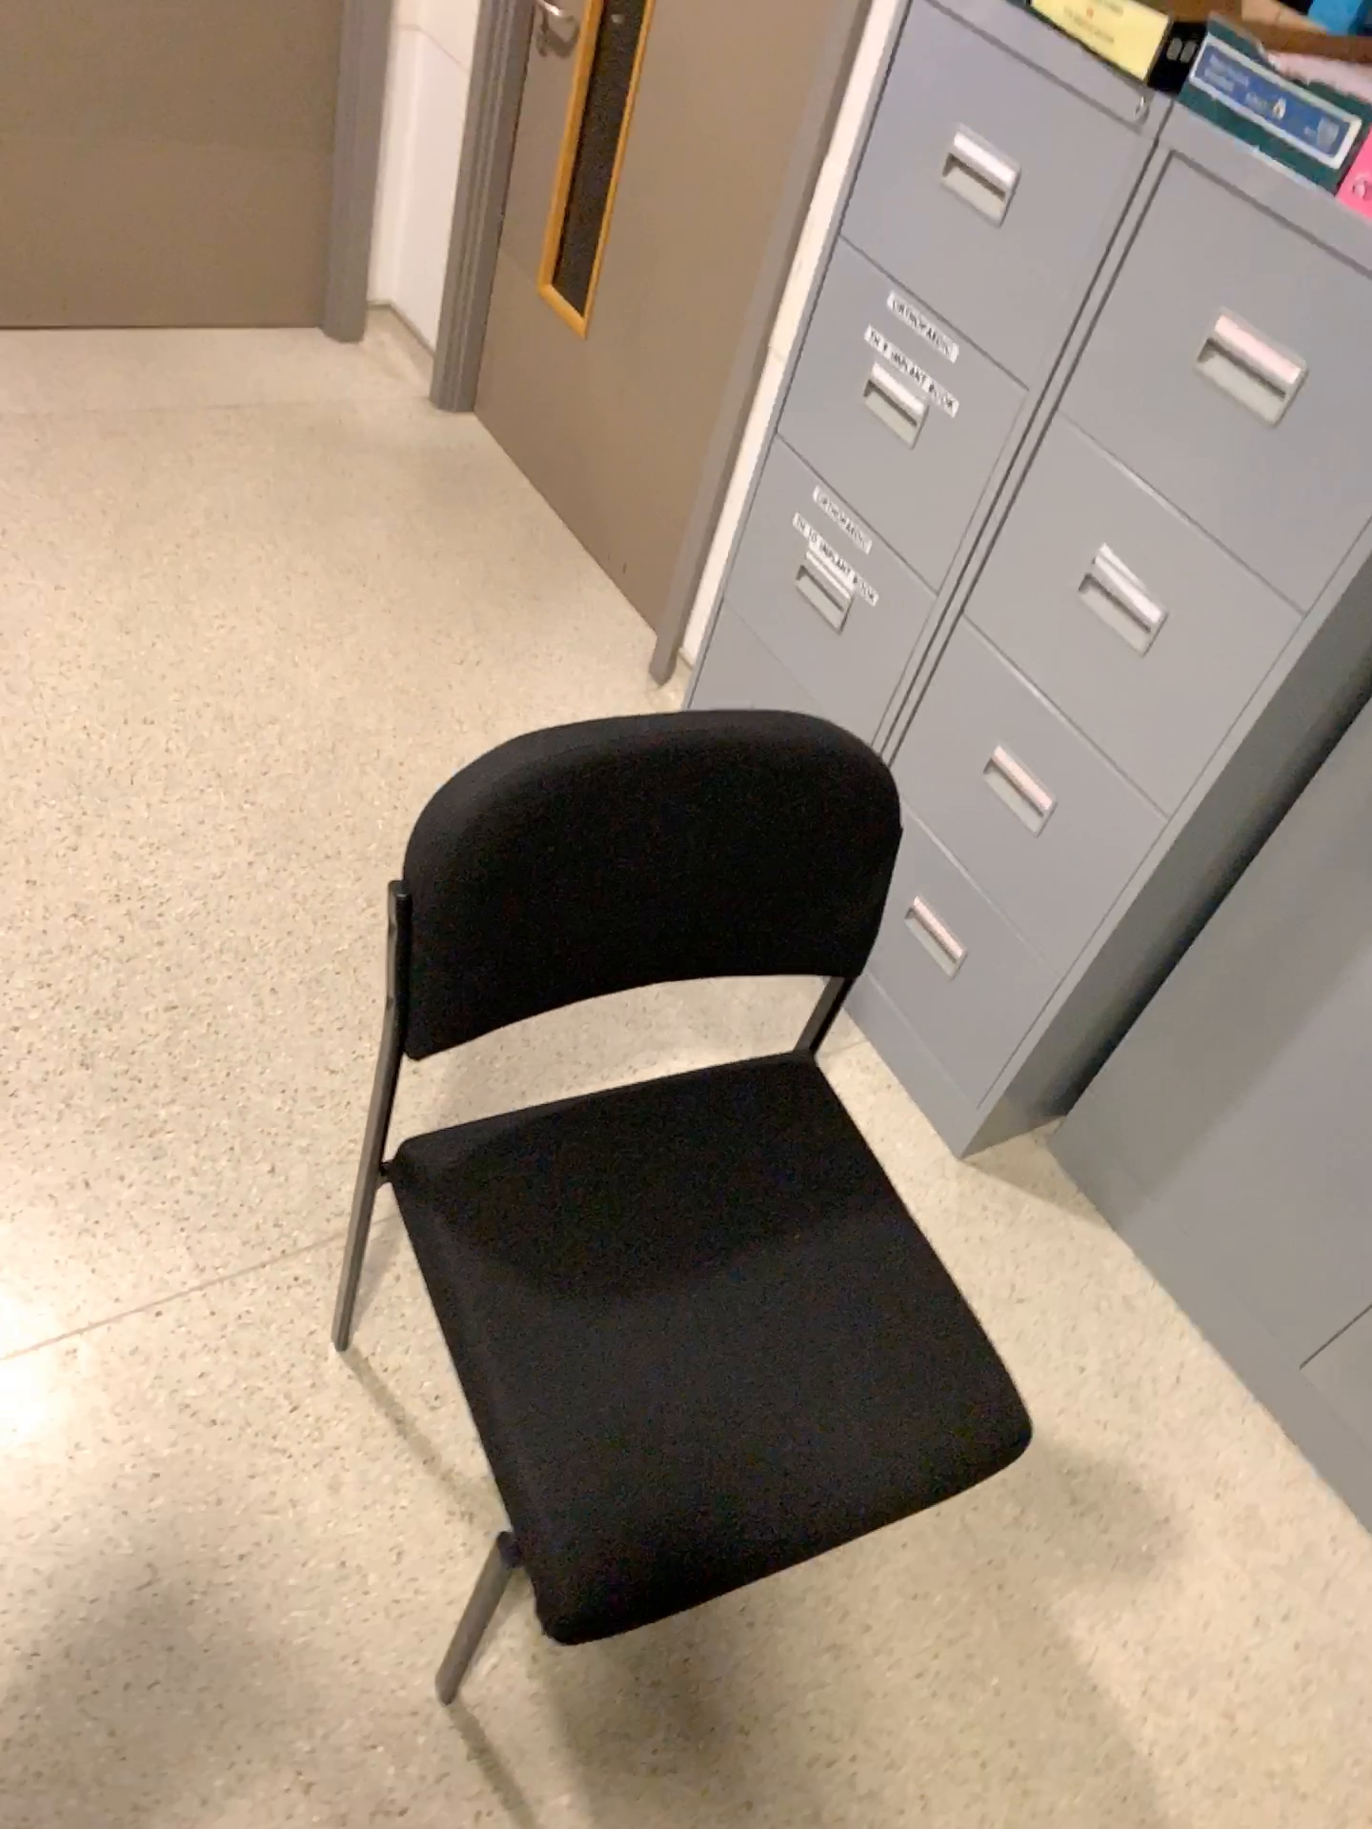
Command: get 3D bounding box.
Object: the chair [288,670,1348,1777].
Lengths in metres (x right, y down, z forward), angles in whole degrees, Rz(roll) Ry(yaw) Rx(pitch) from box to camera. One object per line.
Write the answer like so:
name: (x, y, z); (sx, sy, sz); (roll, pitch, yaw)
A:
chair: (0.015, 0.303, 1.404); (0.632, 0.852, 0.594); (-10, 51, -28)
